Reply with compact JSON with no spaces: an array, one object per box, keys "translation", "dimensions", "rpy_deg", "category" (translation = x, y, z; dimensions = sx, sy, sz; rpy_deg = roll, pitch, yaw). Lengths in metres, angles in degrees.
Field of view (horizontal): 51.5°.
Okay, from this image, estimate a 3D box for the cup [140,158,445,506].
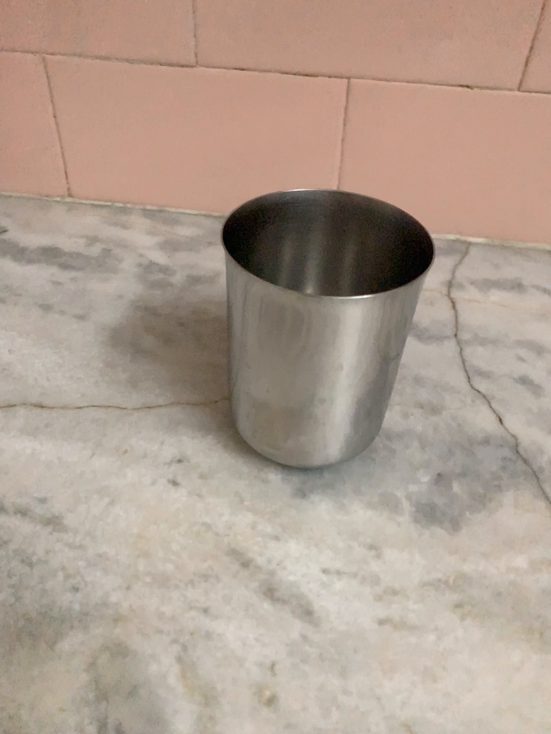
[{"translation":[0.009,-0.017,0.223],"dimensions":[0.080,0.090,0.080],"rpy_deg":[1,41,-1],"category":"cup"}]
